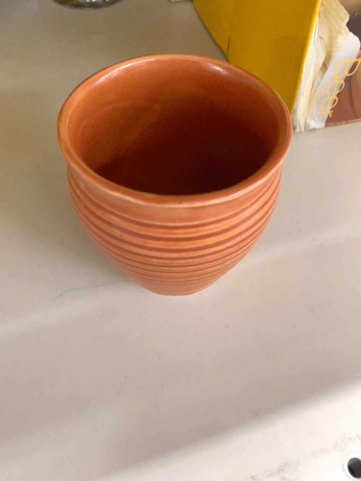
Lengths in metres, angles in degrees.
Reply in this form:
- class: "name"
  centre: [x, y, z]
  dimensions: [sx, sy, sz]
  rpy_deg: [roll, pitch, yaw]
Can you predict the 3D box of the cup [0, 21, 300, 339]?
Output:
- class: "cup"
  centre: [-0.005, -0.017, 0.126]
  dimensions: [0.060, 0.070, 0.060]
  rpy_deg: [1, 56, -1]
